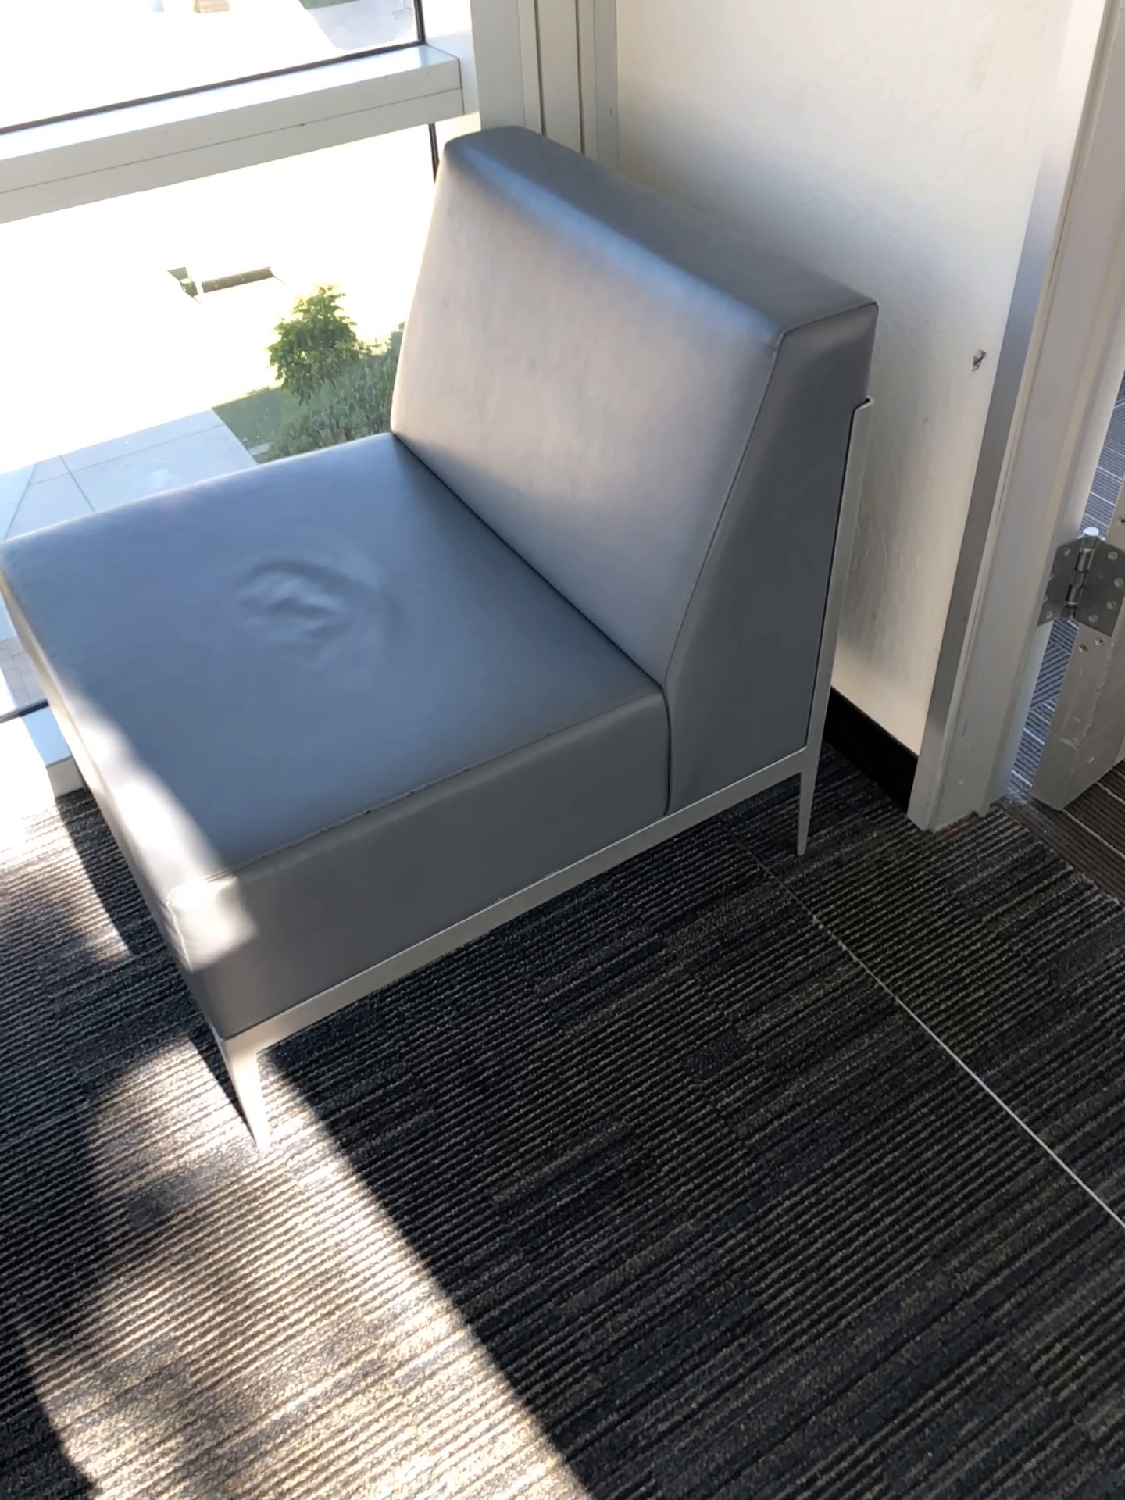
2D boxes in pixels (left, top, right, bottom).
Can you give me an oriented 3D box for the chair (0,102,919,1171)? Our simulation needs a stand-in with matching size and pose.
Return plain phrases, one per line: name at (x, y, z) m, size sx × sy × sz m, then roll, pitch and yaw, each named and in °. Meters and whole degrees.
chair at (-0.199, -0.191, 1.405) m, size 0.750 × 0.707 × 0.774 m, roll -24°, pitch 46°, yaw -20°
